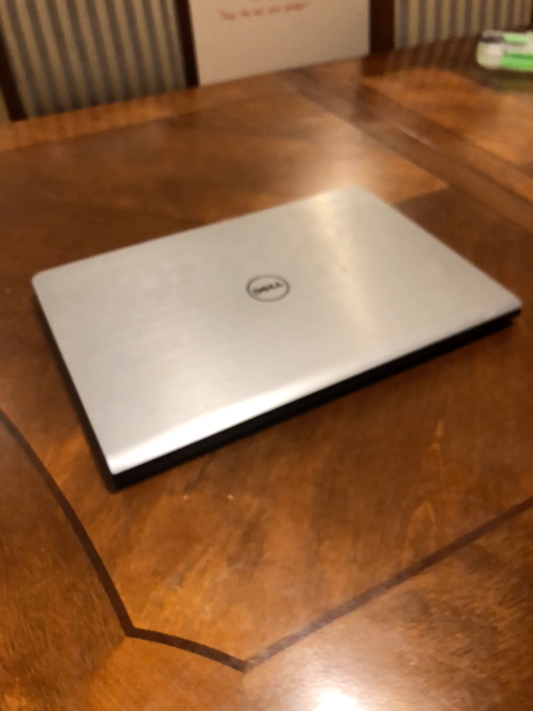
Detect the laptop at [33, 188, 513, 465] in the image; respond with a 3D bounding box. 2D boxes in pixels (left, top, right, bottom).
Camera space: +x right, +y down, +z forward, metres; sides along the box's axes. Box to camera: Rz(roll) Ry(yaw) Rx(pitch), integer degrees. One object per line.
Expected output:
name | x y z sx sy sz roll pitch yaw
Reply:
laptop | 0.000 -0.059 0.540 0.364 0.002 0.244 -20 47 -20
